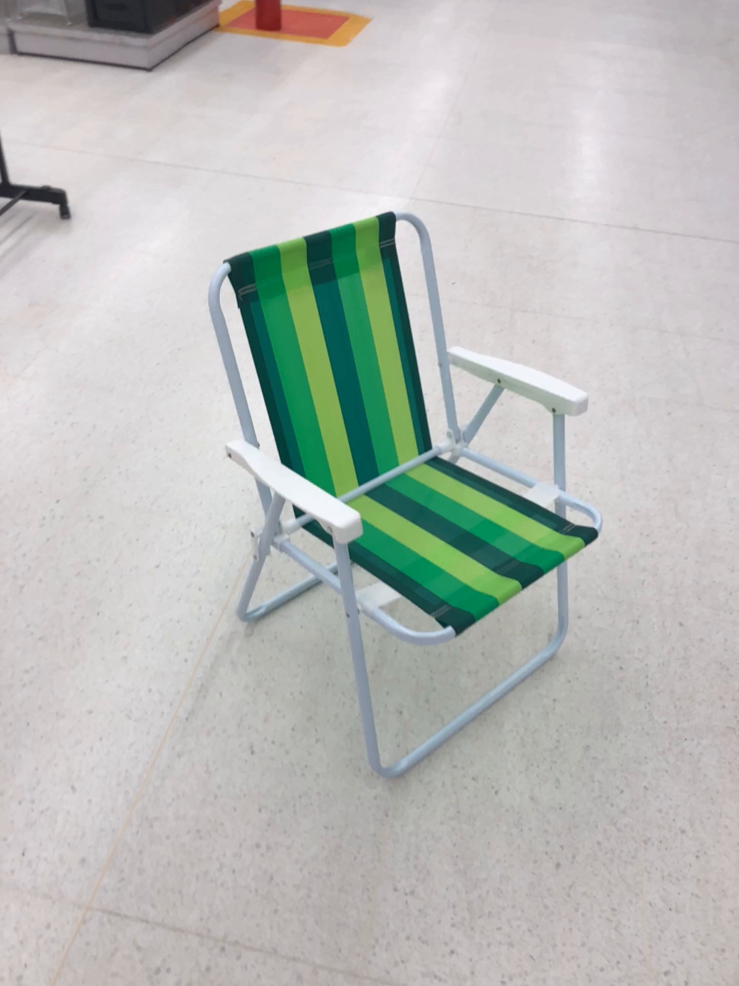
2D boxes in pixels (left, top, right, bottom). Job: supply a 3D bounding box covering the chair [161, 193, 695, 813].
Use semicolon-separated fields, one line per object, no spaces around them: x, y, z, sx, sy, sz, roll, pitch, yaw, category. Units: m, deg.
0.055;-0.004;1.323;0.512;0.715;0.522;-27;49;-32;chair
